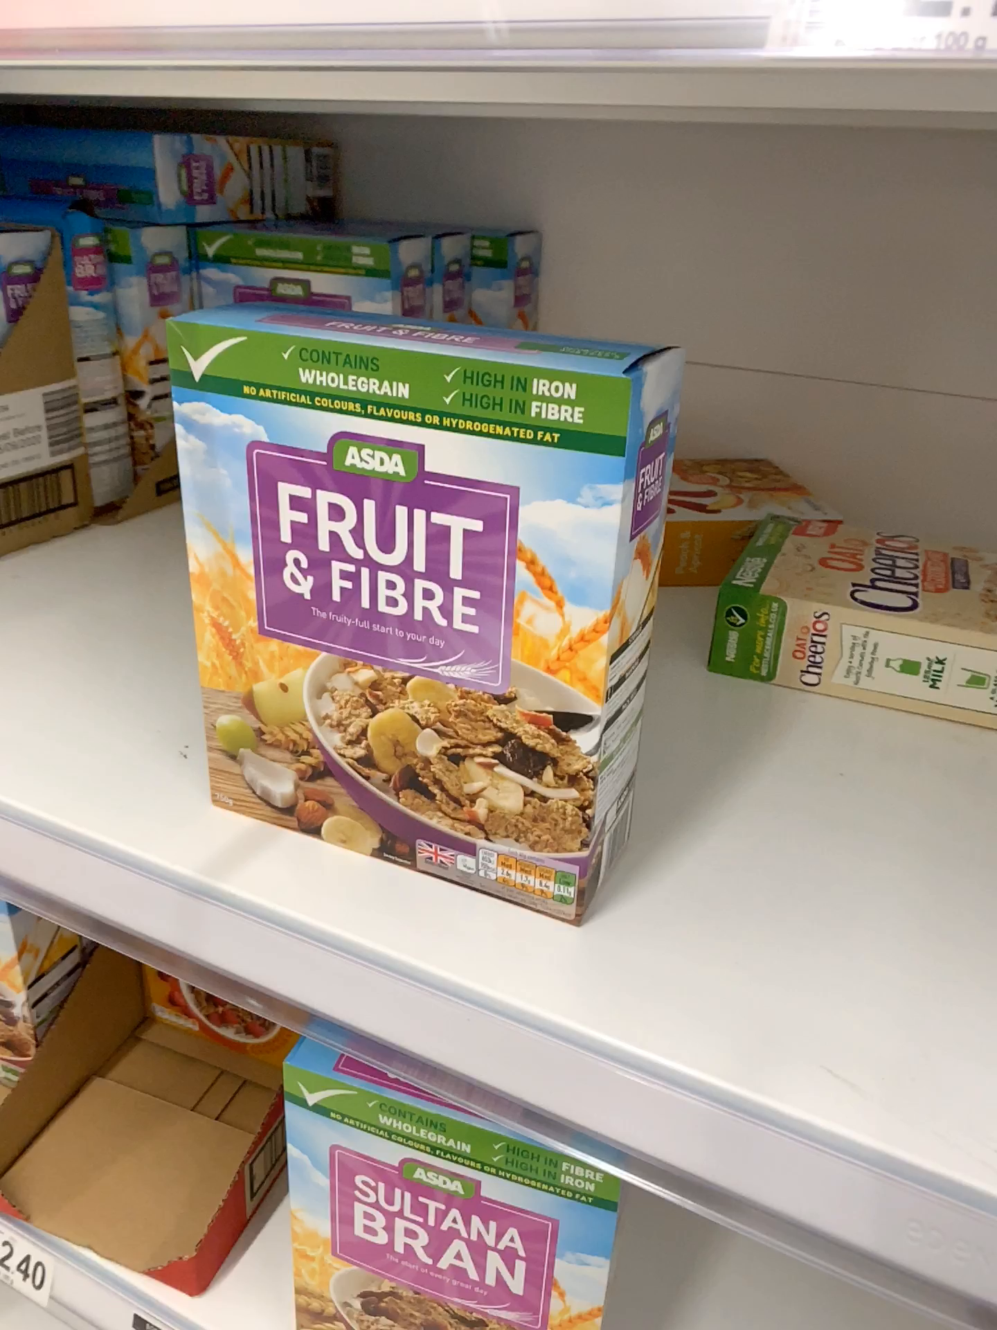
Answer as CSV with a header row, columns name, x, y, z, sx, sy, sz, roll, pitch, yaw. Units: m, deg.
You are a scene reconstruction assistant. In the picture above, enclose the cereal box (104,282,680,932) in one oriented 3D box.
name,x,y,z,sx,sy,sz,roll,pitch,yaw
cereal box,-0.054,-0.037,0.494,0.240,0.258,0.081,13,26,23
